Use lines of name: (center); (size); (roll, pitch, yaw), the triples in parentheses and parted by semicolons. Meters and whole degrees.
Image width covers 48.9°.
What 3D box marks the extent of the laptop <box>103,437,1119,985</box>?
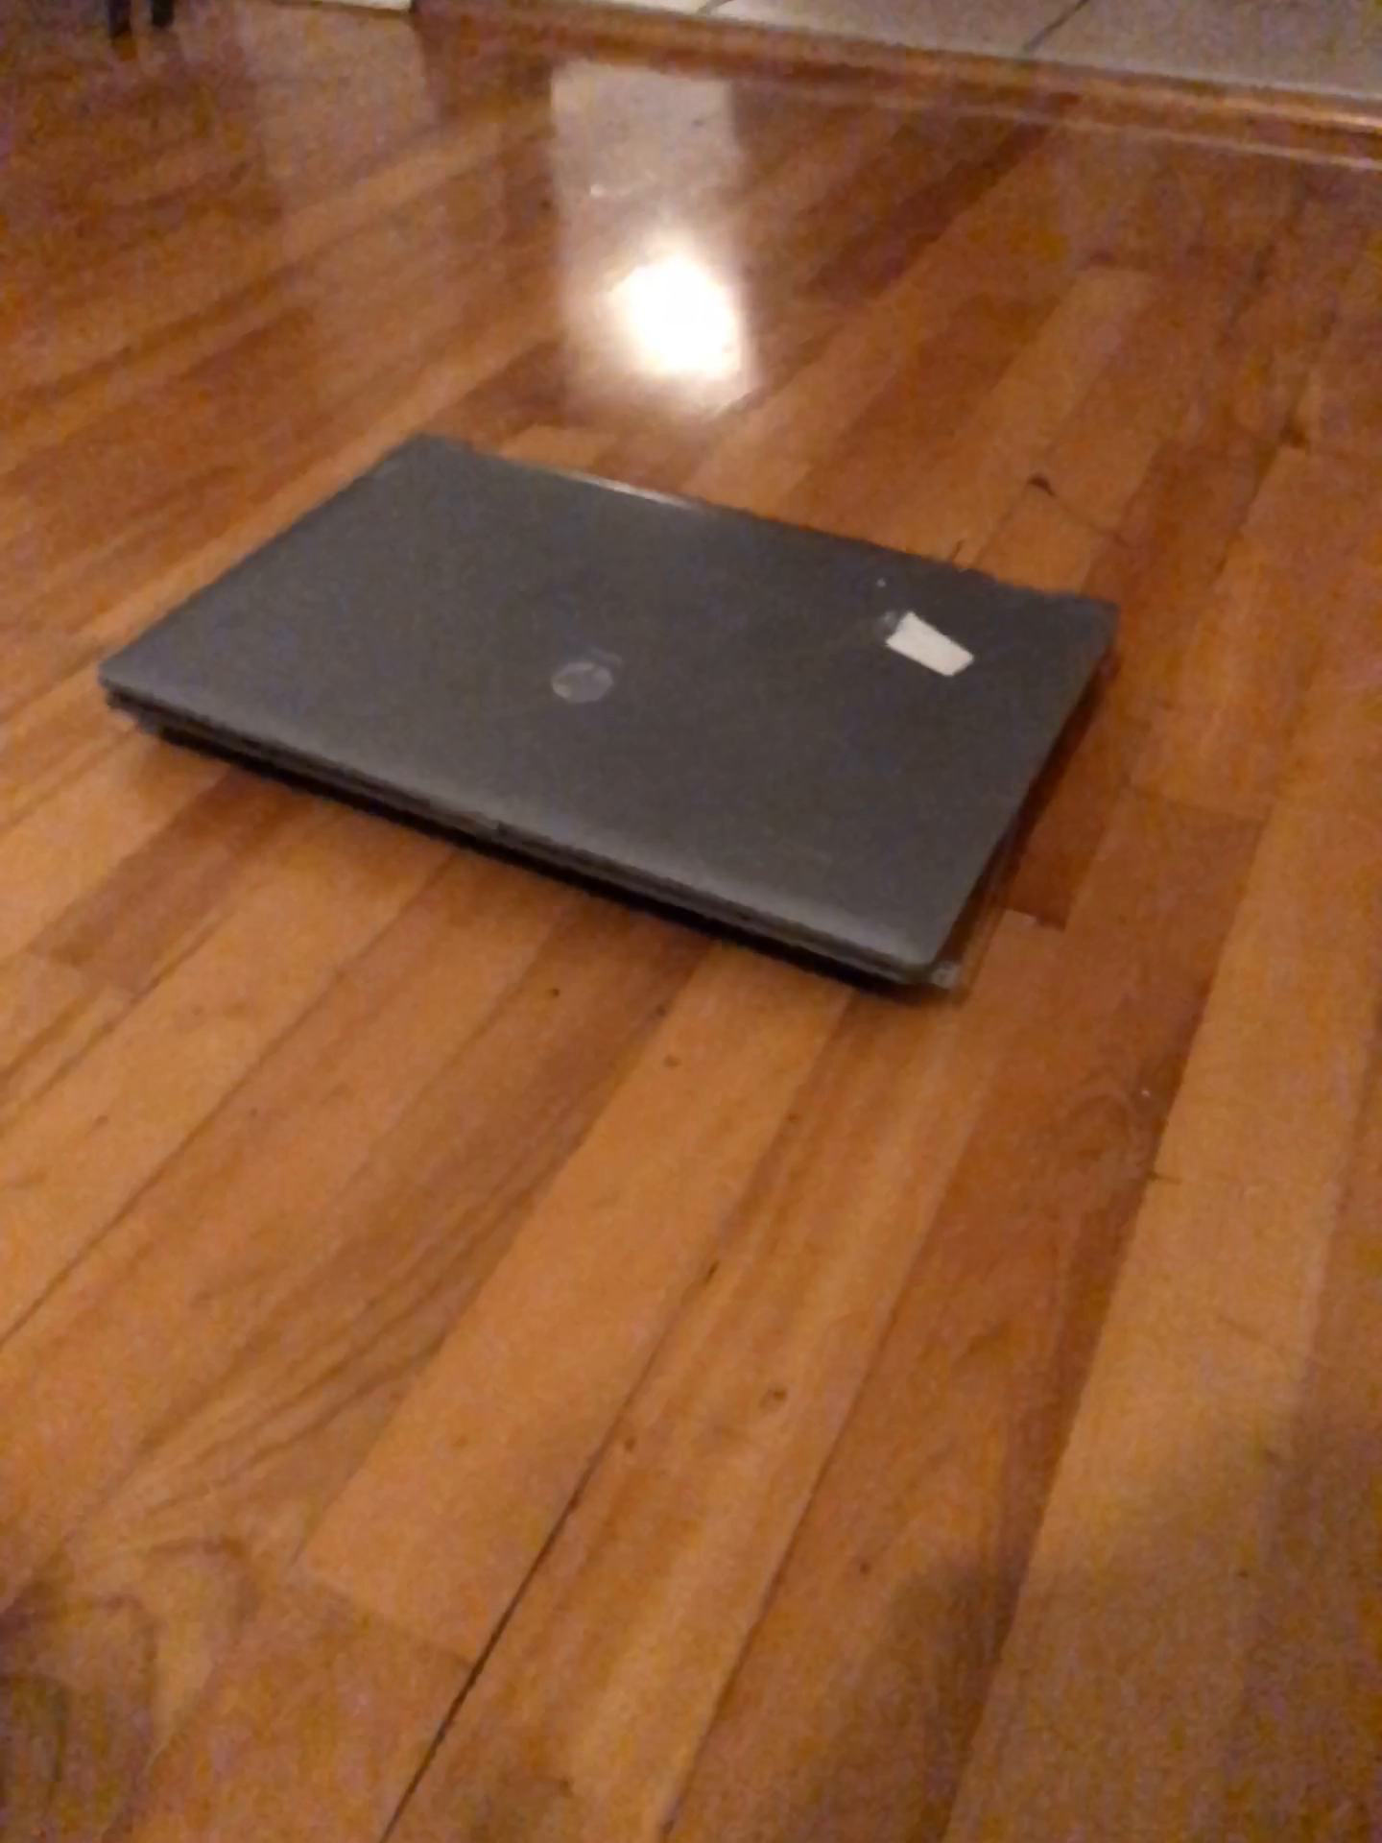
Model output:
laptop: (-0.029, -0.114, 0.653); (0.363, 0.010, 0.241); (19, 48, 19)
